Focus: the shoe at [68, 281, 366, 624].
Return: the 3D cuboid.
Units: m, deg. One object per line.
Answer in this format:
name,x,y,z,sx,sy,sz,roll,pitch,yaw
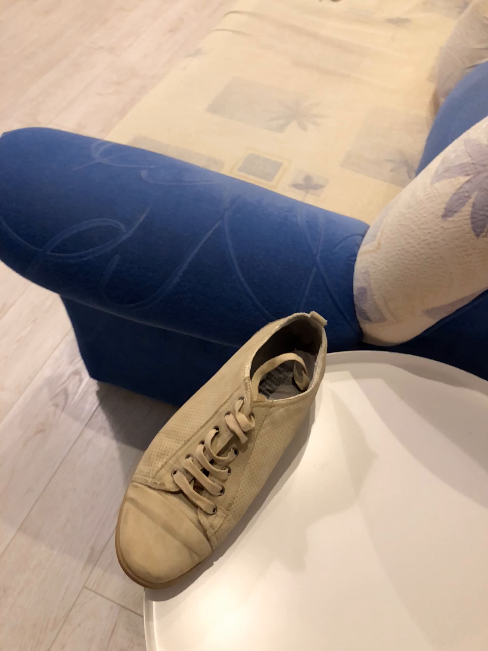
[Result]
shoe,-0.010,0.099,0.485,0.110,0.070,0.281,31,61,15
